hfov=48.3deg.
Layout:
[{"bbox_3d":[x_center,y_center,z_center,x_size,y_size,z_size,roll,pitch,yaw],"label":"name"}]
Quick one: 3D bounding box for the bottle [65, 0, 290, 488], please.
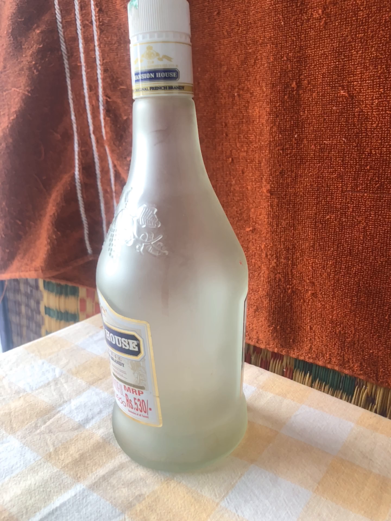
[{"bbox_3d":[-0.012,-0.013,0.250,0.090,0.249,0.090,-1,18,0],"label":"bottle"}]
